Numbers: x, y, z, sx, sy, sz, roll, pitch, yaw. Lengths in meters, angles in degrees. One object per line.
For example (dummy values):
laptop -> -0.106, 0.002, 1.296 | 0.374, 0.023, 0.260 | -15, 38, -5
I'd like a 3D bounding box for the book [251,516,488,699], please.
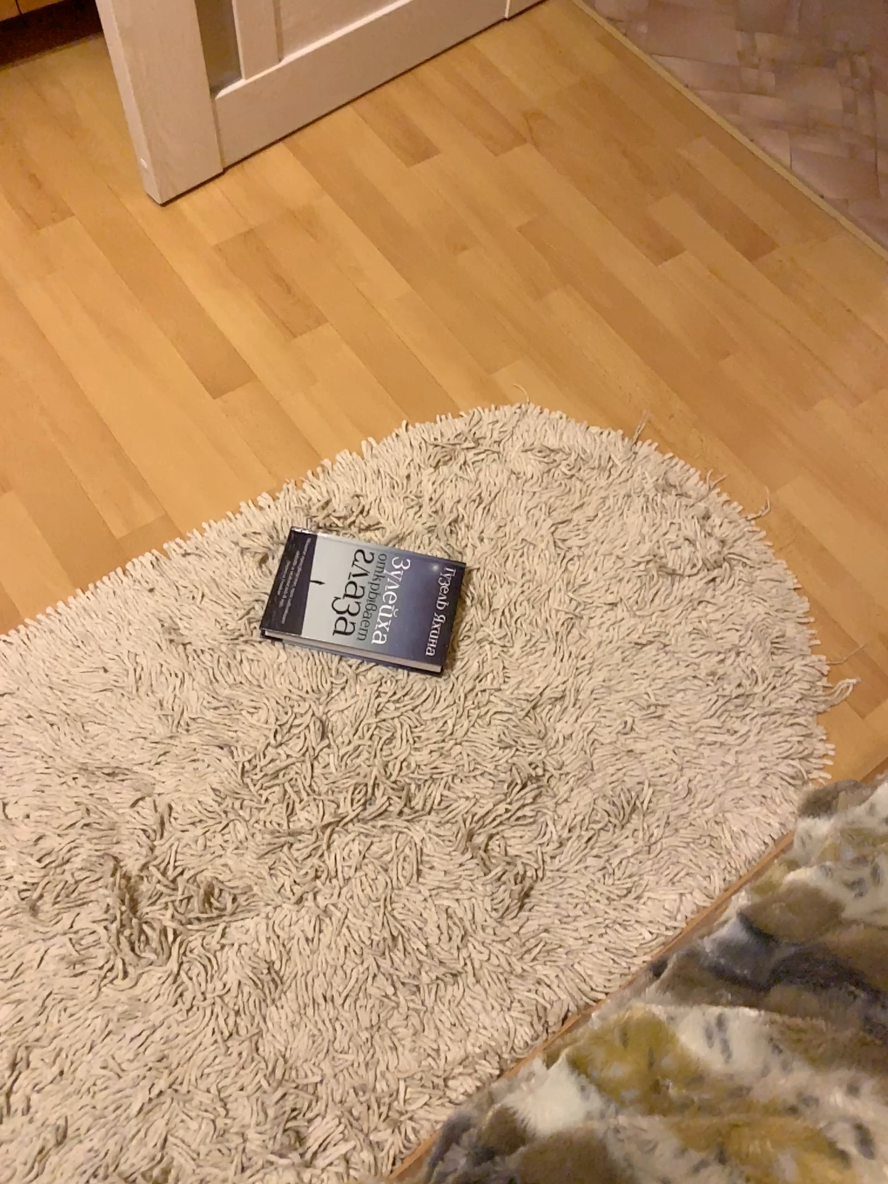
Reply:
book -> -0.077, 0.015, 0.976 | 0.220, 0.040, 0.151 | 13, 64, 1
